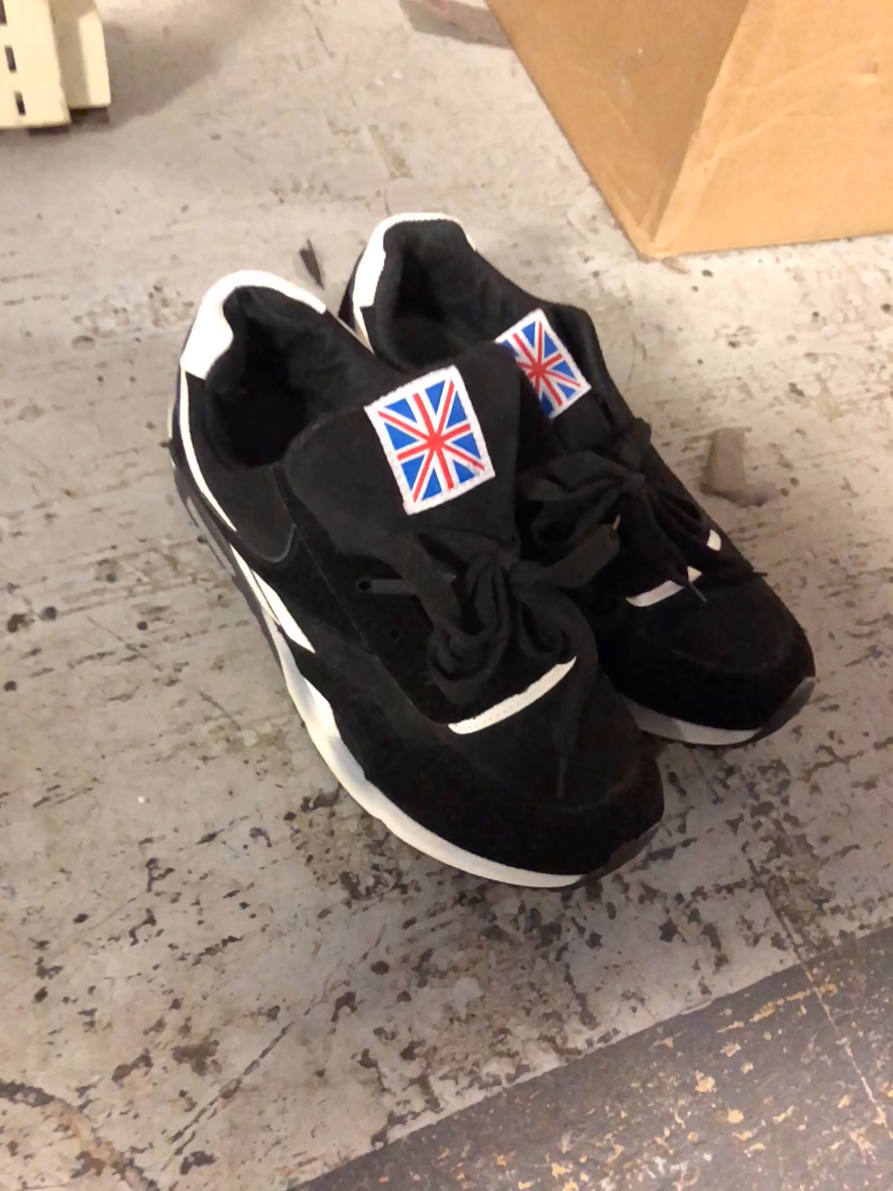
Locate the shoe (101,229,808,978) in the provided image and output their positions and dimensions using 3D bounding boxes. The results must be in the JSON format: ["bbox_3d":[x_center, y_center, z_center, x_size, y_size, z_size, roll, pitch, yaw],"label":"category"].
[{"bbox_3d":[-0.012,-0.001,0.360,0.100,0.119,0.231,-32,68,-27],"label":"shoe"}]

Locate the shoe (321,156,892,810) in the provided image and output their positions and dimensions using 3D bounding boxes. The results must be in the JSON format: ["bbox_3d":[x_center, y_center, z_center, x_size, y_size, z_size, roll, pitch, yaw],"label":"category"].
[{"bbox_3d":[0.066,-0.054,0.416,0.110,0.109,0.241,-32,68,-27],"label":"shoe"}]
